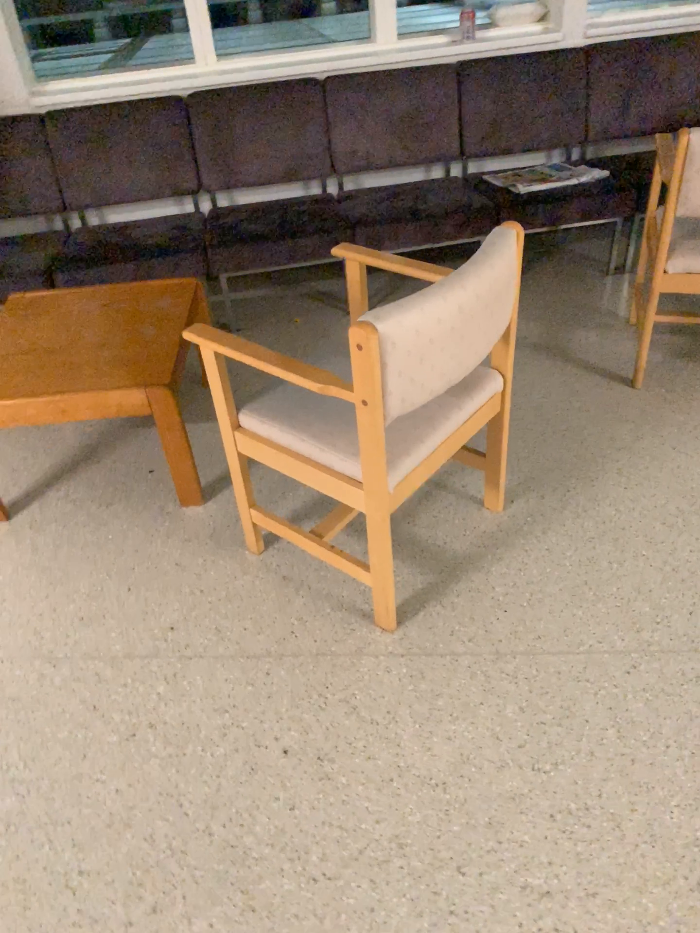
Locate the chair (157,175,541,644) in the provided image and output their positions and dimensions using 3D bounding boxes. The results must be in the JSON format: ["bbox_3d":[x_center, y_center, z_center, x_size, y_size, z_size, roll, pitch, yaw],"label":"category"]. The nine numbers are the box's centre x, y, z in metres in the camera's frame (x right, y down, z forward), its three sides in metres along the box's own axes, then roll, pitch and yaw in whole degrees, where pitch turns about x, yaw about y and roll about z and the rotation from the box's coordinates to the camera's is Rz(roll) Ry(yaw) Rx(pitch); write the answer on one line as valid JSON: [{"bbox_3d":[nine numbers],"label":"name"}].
[{"bbox_3d":[0.033,-0.143,1.552,0.512,0.753,0.513,23,46,32],"label":"chair"}]
